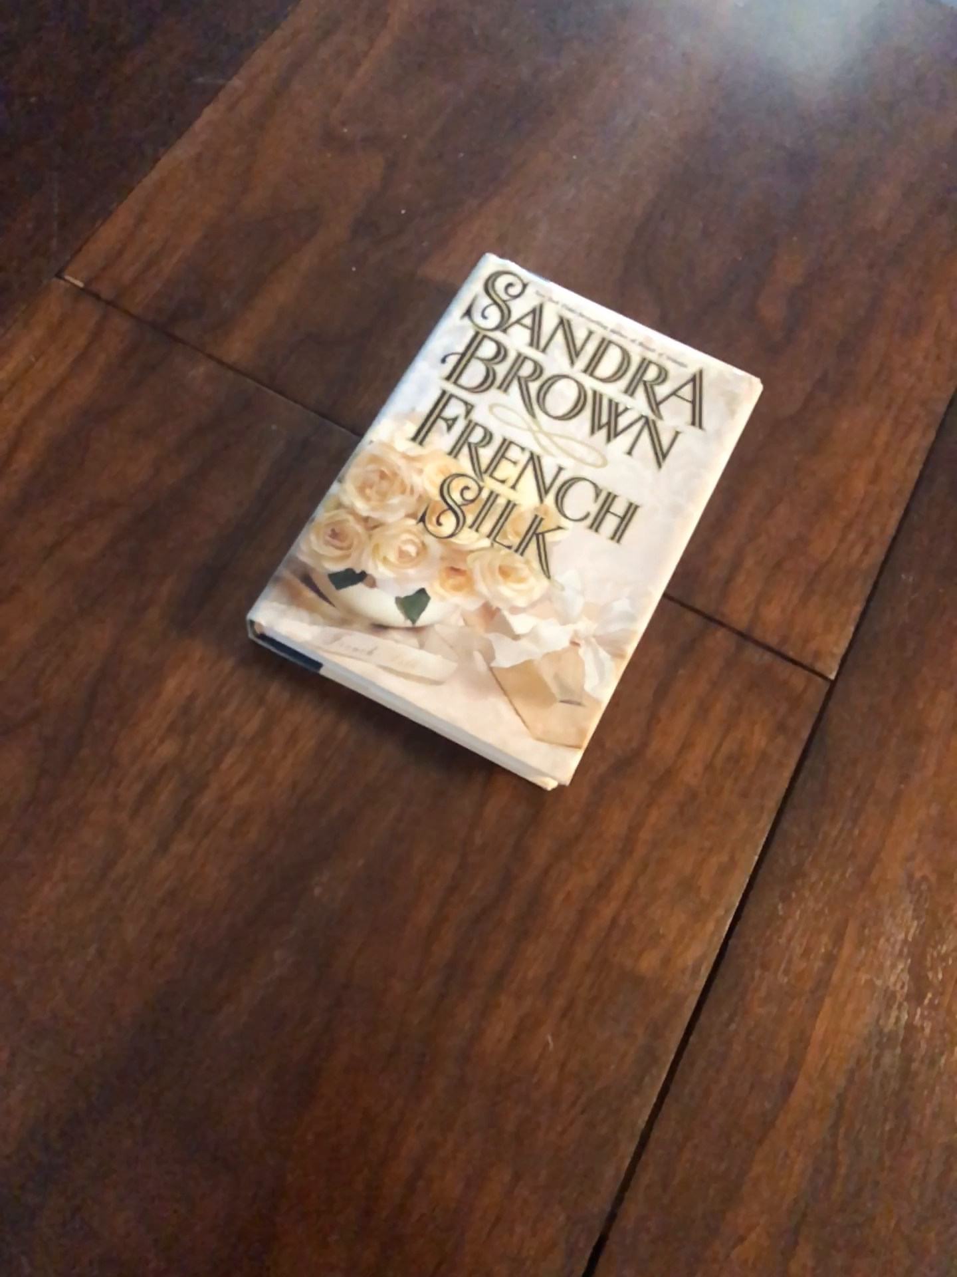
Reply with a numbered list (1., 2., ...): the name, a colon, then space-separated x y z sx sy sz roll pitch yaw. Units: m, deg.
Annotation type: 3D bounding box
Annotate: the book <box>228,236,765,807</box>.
1. book: 0.016 -0.065 0.506 0.161 0.033 0.240 27 69 5
